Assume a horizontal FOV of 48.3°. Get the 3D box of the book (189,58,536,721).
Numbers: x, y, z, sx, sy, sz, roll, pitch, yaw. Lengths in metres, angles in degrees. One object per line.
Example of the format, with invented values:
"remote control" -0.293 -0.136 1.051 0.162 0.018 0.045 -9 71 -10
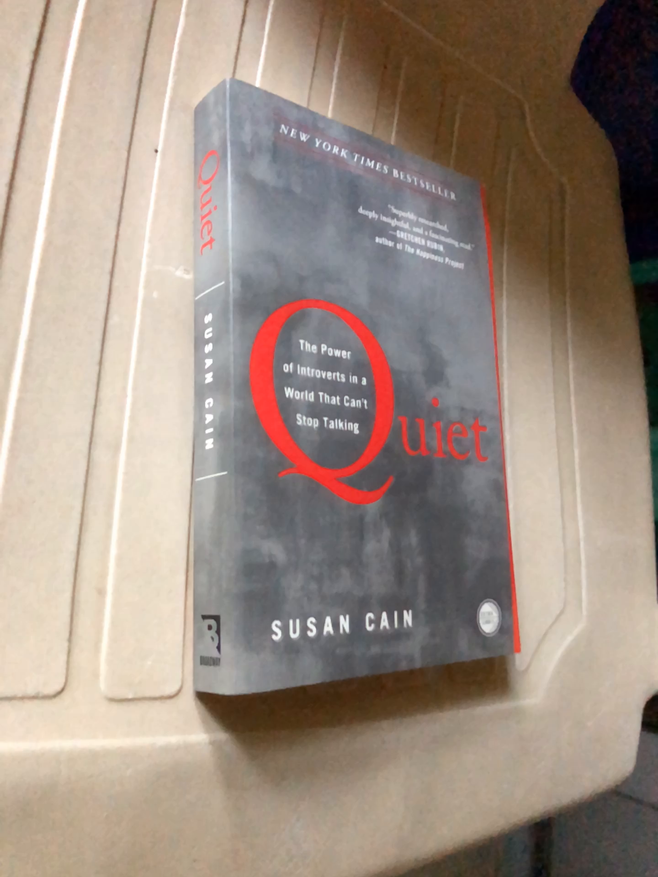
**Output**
"book" 0.015 -0.014 0.267 0.131 0.030 0.200 6 77 -38
